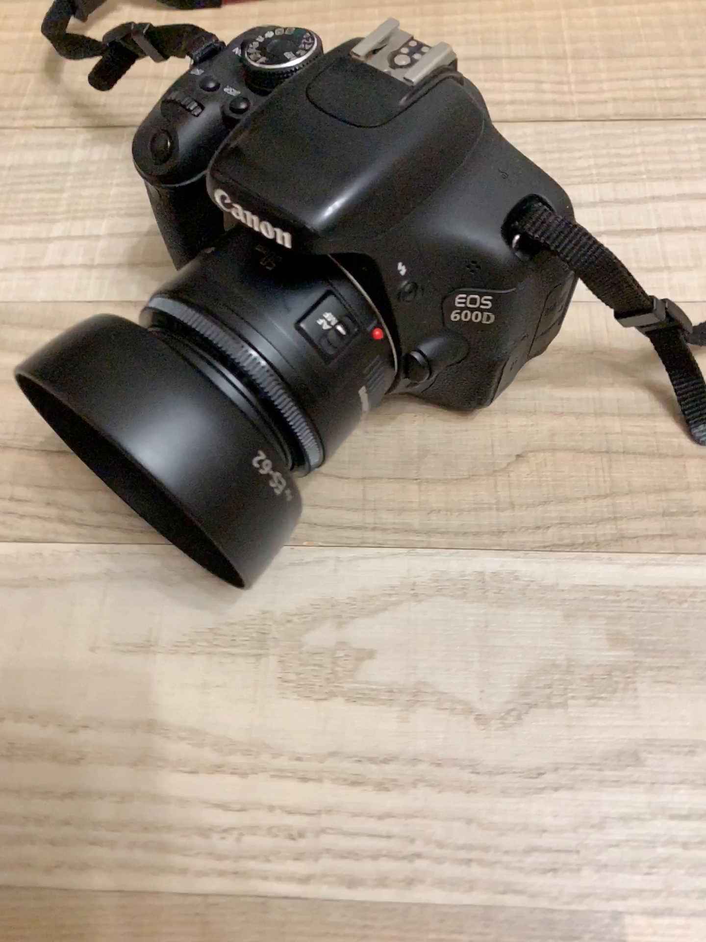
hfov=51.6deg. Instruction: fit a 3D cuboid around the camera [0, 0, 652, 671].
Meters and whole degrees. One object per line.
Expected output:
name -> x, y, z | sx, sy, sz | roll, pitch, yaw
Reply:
camera -> -0.028, -0.054, 0.214 | 0.139, 0.090, 0.150 | 36, 71, 18
